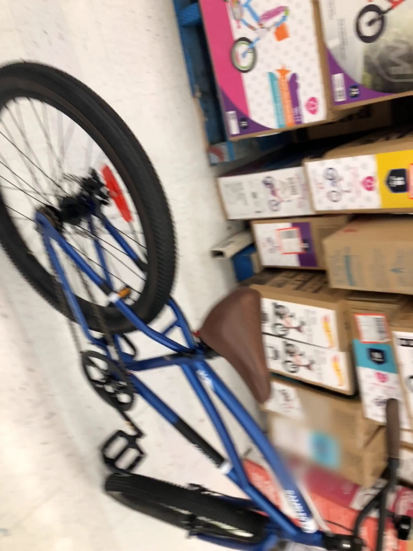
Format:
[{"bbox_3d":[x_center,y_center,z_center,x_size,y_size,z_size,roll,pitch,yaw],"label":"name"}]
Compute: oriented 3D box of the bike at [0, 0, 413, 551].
[{"bbox_3d":[0.023,0.263,1.108,0.651,0.928,1.555,-41,122,-36],"label":"bike"}]
